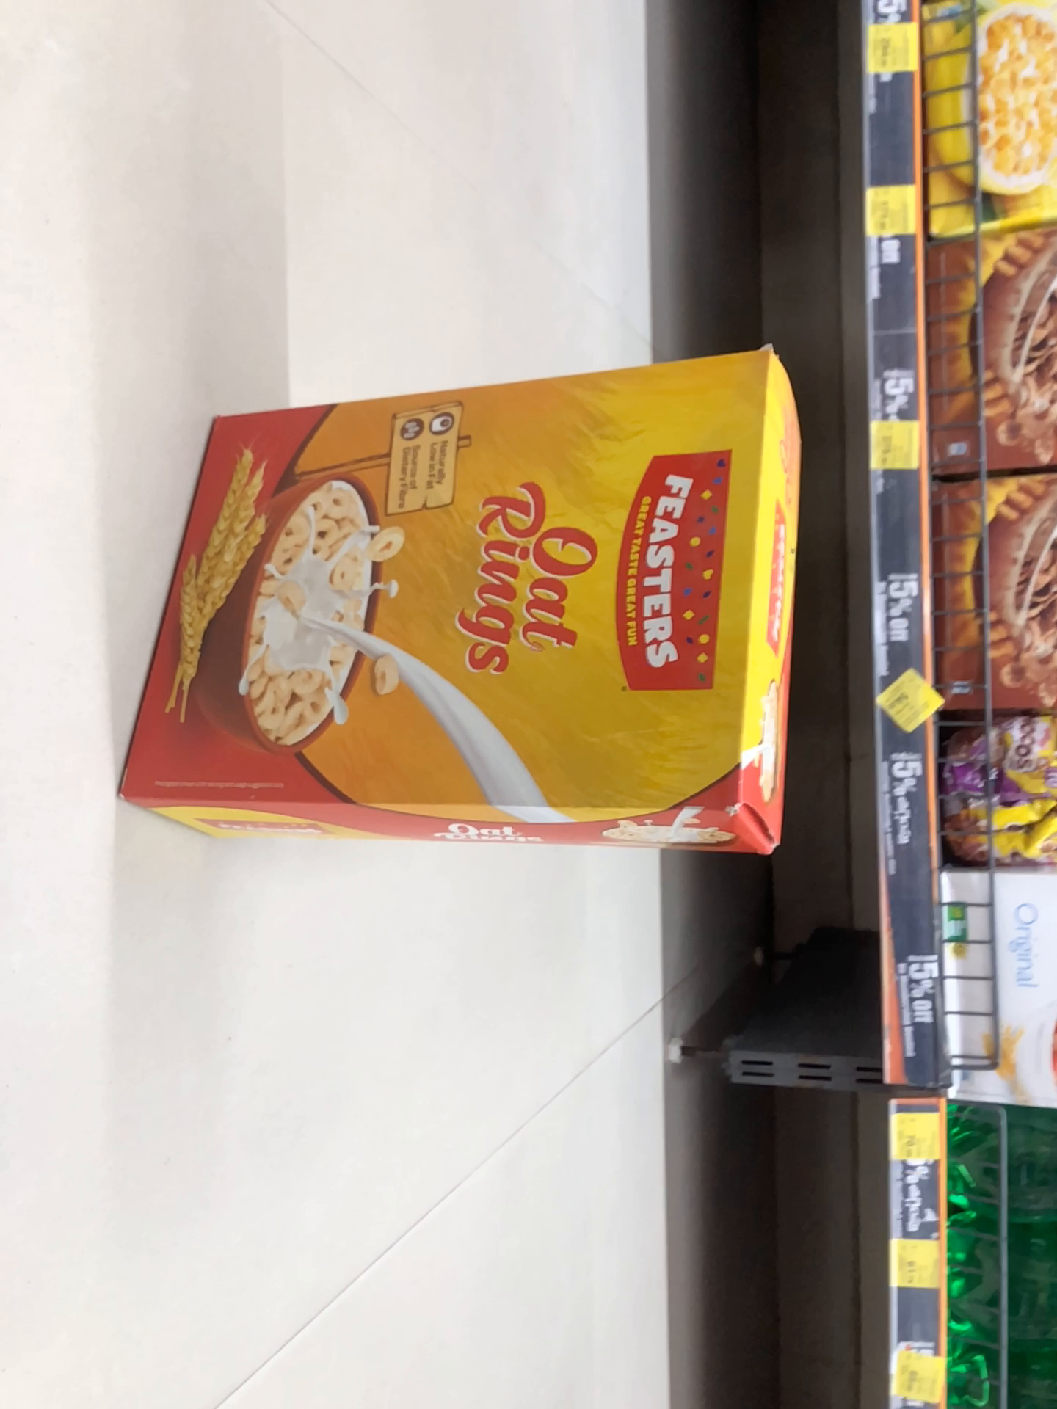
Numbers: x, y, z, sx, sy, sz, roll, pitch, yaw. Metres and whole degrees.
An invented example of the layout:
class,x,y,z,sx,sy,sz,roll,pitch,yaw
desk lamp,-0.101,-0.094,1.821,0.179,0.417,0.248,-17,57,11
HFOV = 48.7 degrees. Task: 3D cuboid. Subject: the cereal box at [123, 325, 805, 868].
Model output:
class,x,y,z,sx,sy,sz,roll,pitch,yaw
cereal box,-0.017,-0.034,0.432,0.070,0.219,0.170,50,43,-59
